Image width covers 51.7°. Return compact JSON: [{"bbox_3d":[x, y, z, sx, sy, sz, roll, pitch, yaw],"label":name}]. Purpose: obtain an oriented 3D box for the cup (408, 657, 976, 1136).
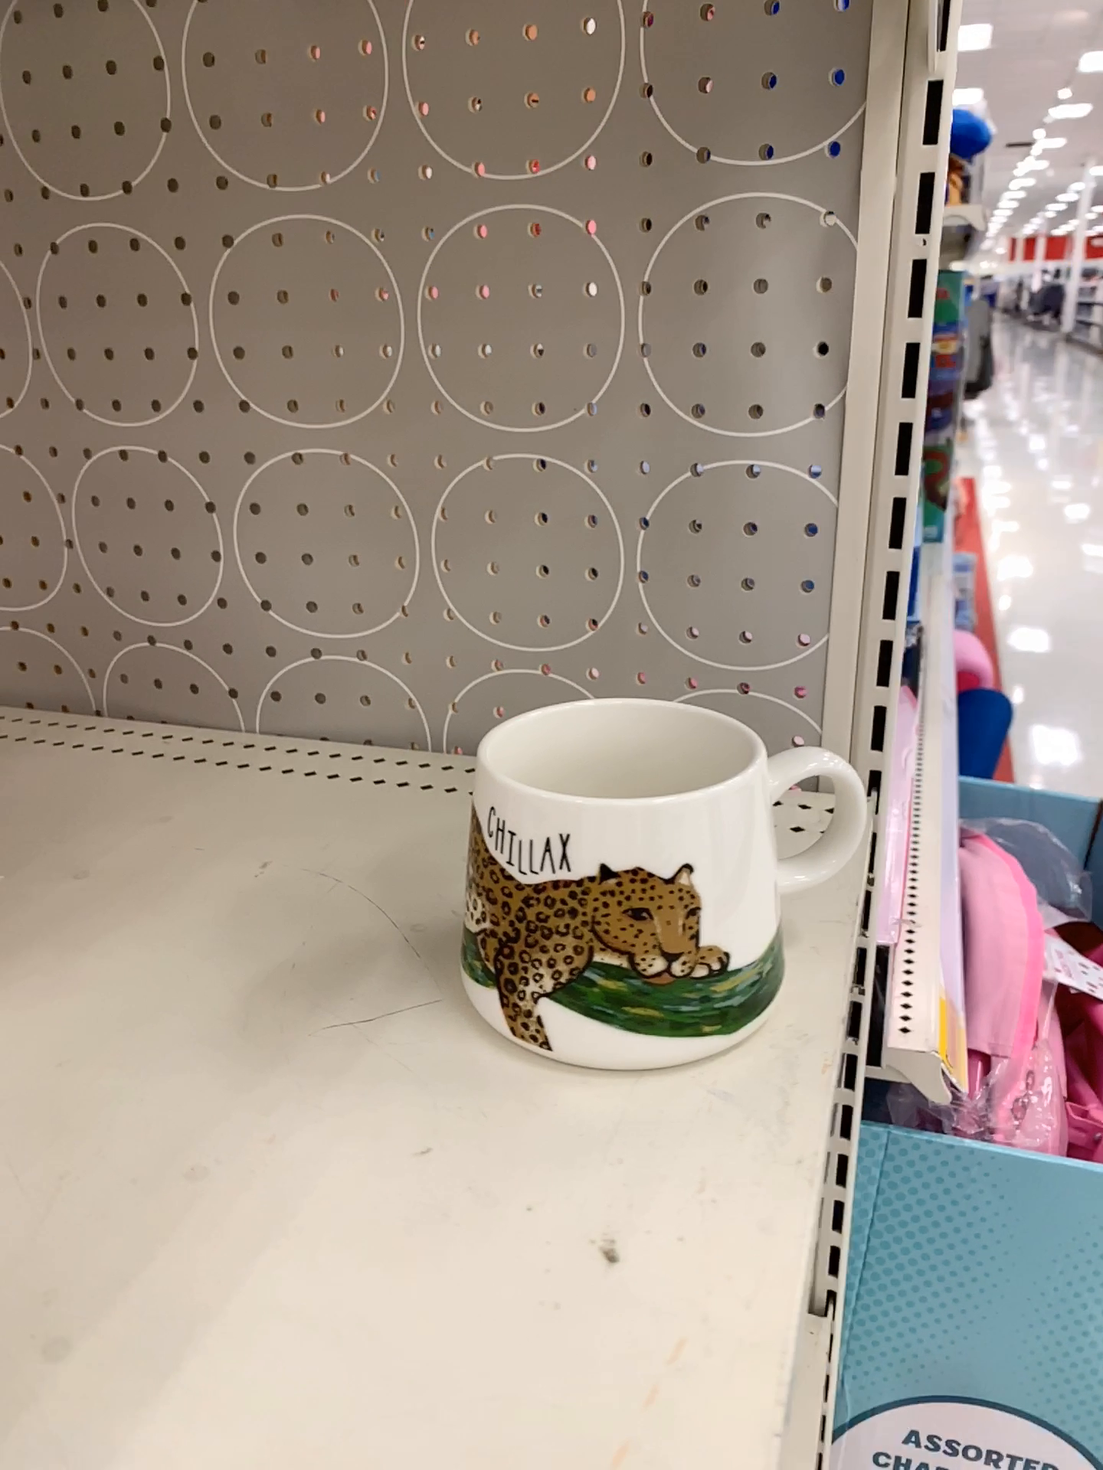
[{"bbox_3d":[0.035,0.040,0.361,0.140,0.090,0.110,-7,21,-14],"label":"cup"}]
